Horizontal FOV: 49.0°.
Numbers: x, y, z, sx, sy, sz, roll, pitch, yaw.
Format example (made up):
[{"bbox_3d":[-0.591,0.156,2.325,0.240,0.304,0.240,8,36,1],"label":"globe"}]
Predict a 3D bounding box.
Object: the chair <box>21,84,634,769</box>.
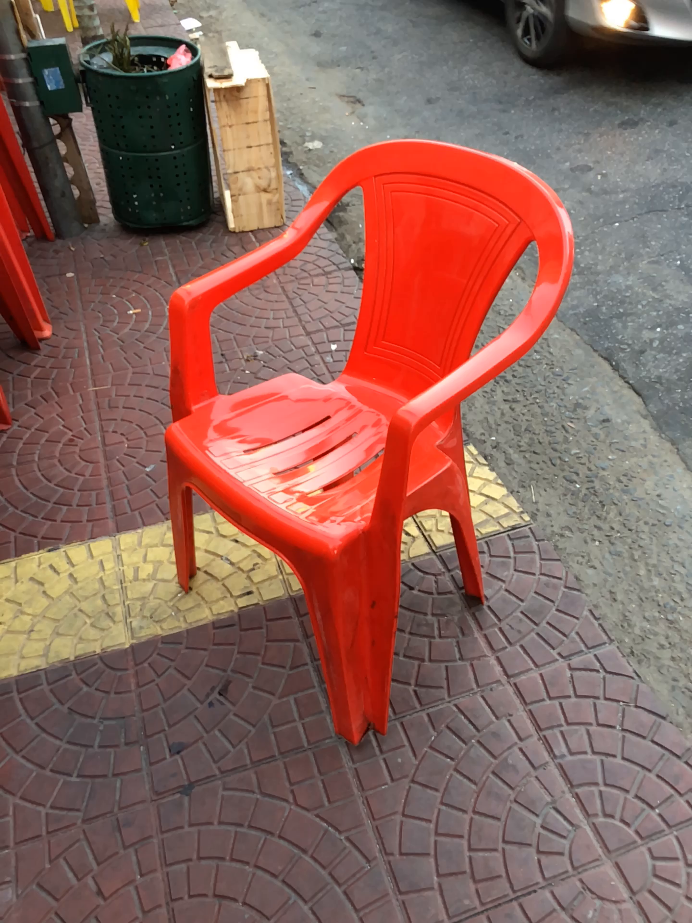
[{"bbox_3d":[-0.012,-0.065,1.239,0.542,0.794,0.572,-36,51,-29],"label":"chair"}]
